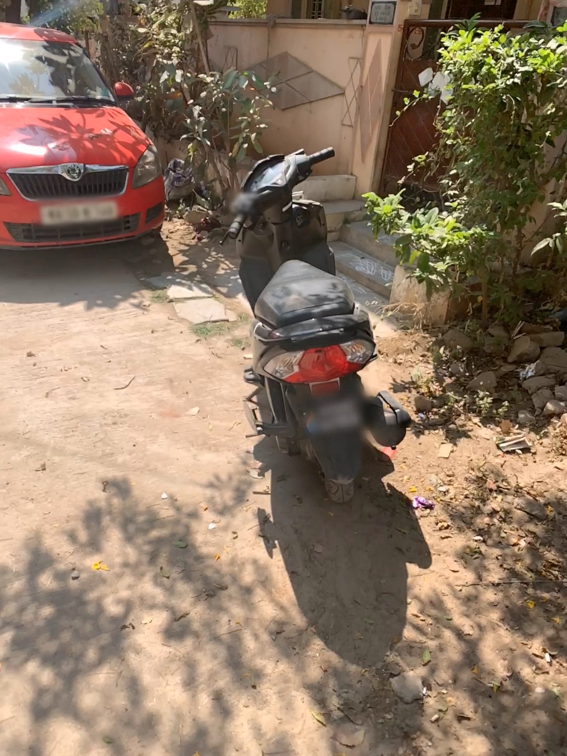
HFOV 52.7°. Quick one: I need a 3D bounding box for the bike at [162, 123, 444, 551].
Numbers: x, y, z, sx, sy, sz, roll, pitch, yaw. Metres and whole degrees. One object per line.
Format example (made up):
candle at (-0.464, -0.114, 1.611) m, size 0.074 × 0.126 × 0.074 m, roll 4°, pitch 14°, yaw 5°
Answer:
bike at (-0.116, -0.300, 2.392) m, size 0.624 × 1.175 × 1.535 m, roll -3°, pitch 31°, yaw -14°
